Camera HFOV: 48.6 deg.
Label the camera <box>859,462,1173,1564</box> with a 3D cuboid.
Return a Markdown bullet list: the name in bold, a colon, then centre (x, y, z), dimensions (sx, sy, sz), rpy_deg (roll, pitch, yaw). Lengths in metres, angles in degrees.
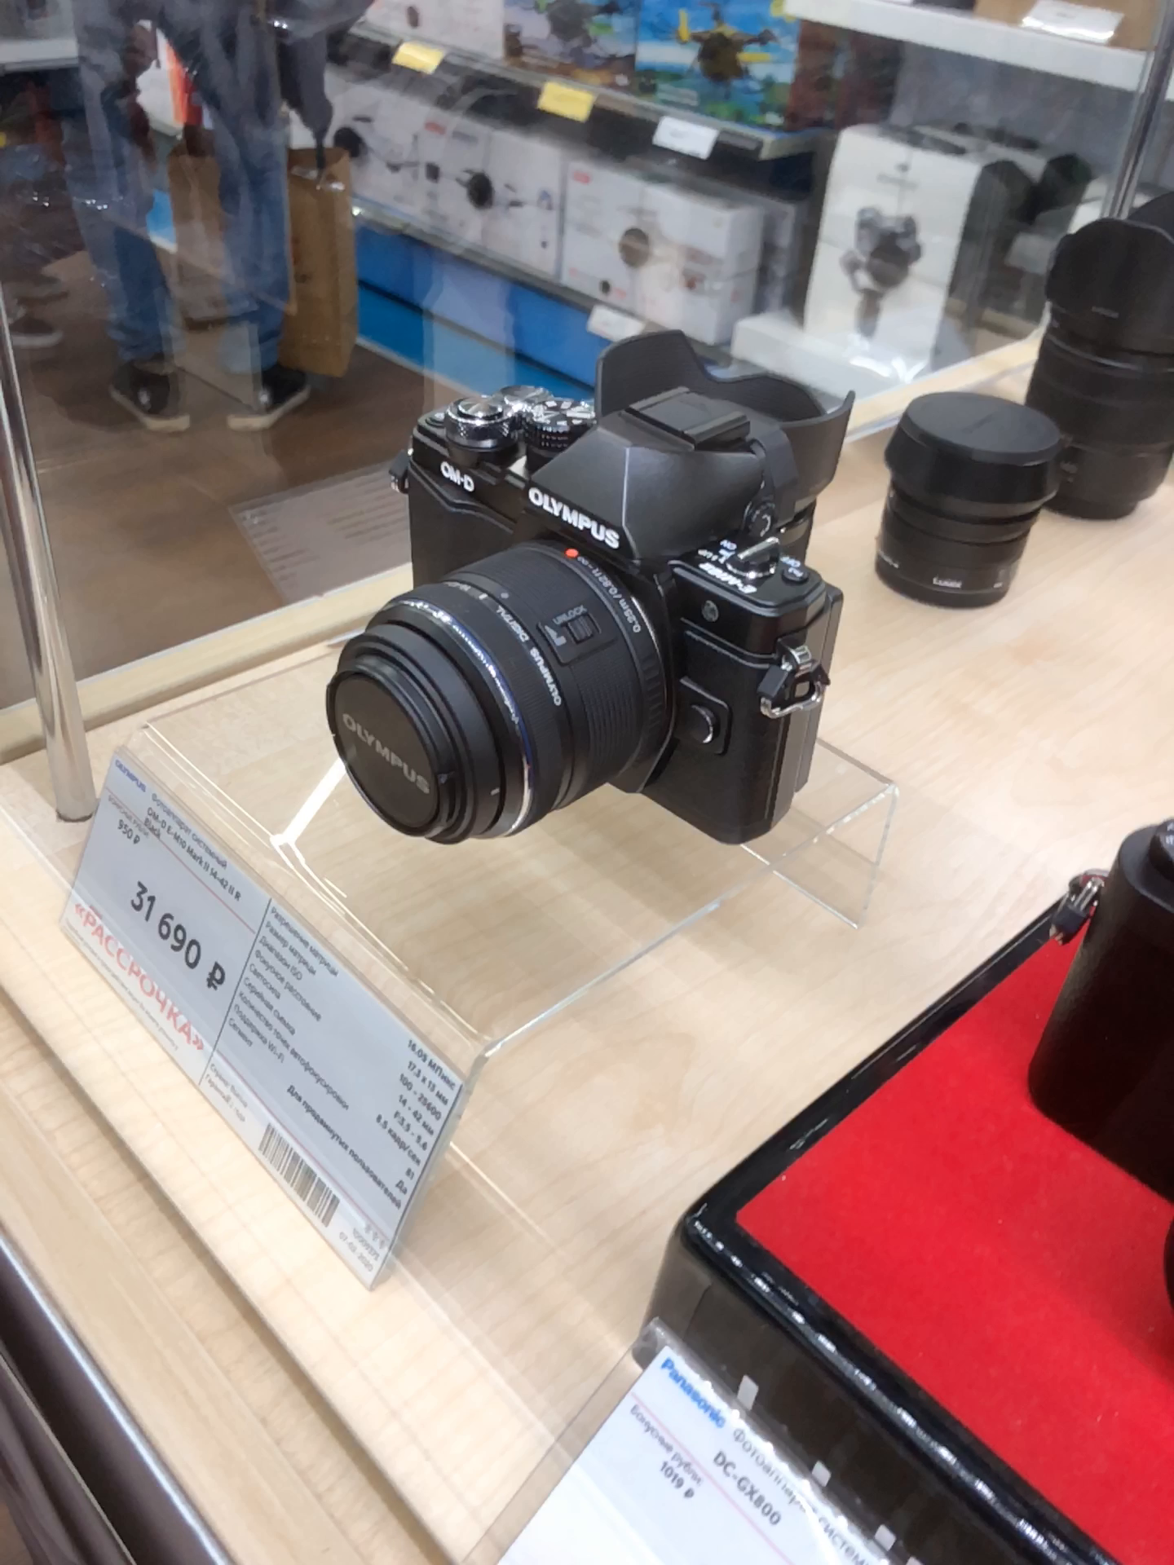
- **camera**: centre (0.117, 0.036, 0.181), dimensions (0.072, 0.109, 0.118), rpy_deg (-27, 47, -35)

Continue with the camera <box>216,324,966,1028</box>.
- **camera**: centre (-0.003, -0.034, 0.293), dimensions (0.101, 0.088, 0.118), rpy_deg (-27, 47, -35)
